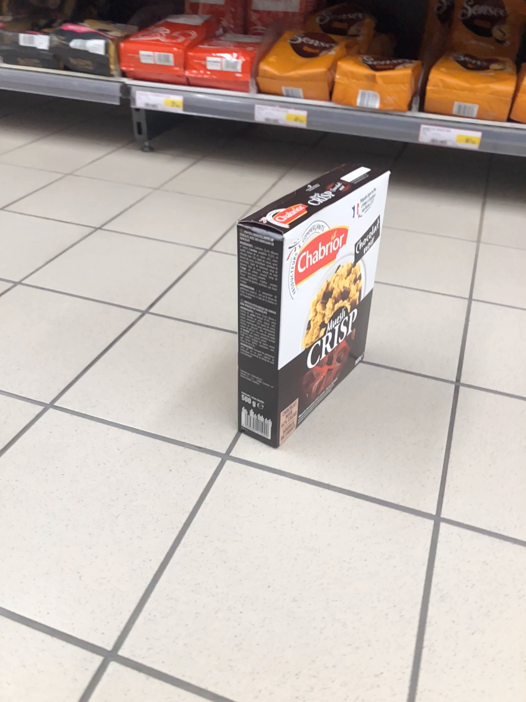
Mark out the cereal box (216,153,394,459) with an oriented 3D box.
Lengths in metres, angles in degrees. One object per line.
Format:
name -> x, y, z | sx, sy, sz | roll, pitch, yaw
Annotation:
cereal box -> 0.042, -0.048, 0.566 | 0.060, 0.229, 0.201 | 22, 40, 27
